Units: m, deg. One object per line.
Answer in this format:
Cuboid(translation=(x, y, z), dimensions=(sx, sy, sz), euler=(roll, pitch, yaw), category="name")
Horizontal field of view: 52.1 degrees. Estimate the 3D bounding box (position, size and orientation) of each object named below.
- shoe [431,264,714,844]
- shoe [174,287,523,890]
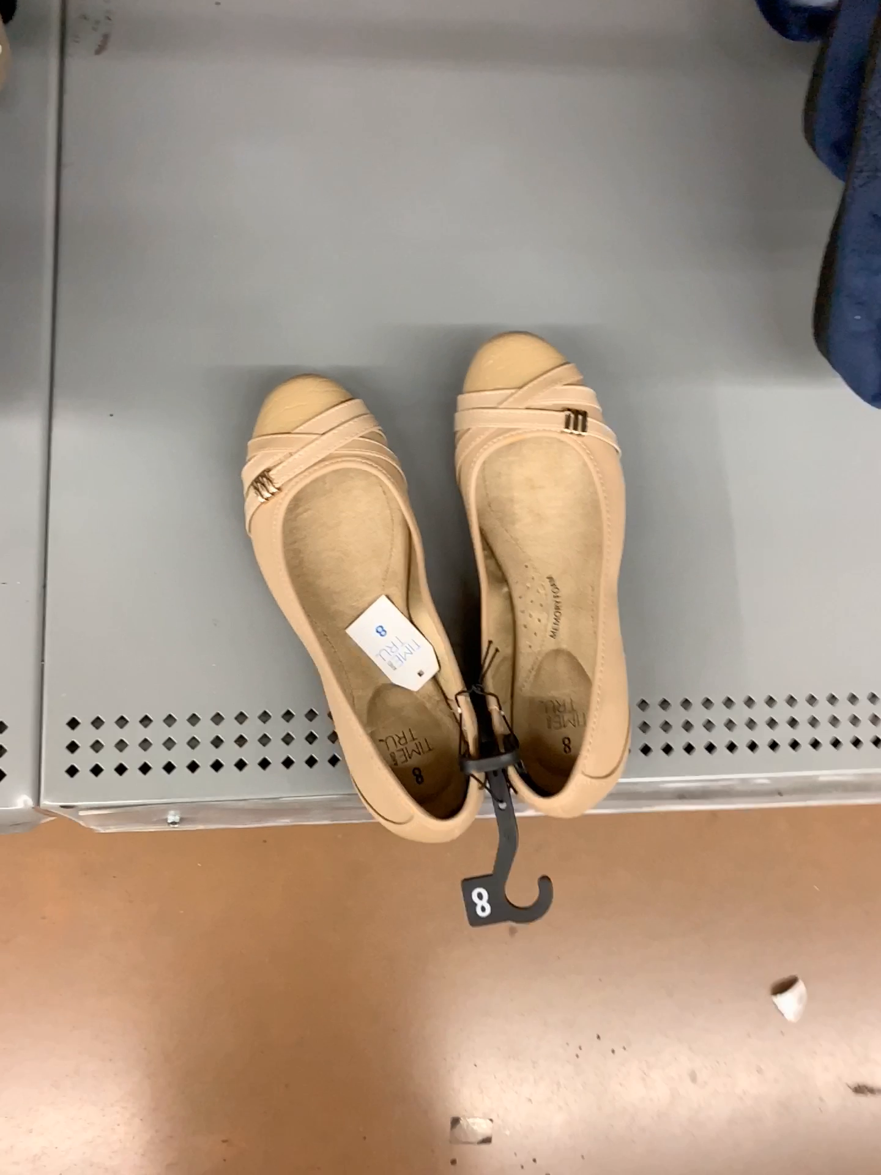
Cuboid(translation=(0.062, -0.017, 0.488), dimensions=(0.100, 0.100, 0.280), euler=(-5, 82, -6), category="shoe")
Cuboid(translation=(-0.051, 0.000, 0.488), dimensions=(0.100, 0.100, 0.280), euler=(-15, 84, -8), category="shoe")
